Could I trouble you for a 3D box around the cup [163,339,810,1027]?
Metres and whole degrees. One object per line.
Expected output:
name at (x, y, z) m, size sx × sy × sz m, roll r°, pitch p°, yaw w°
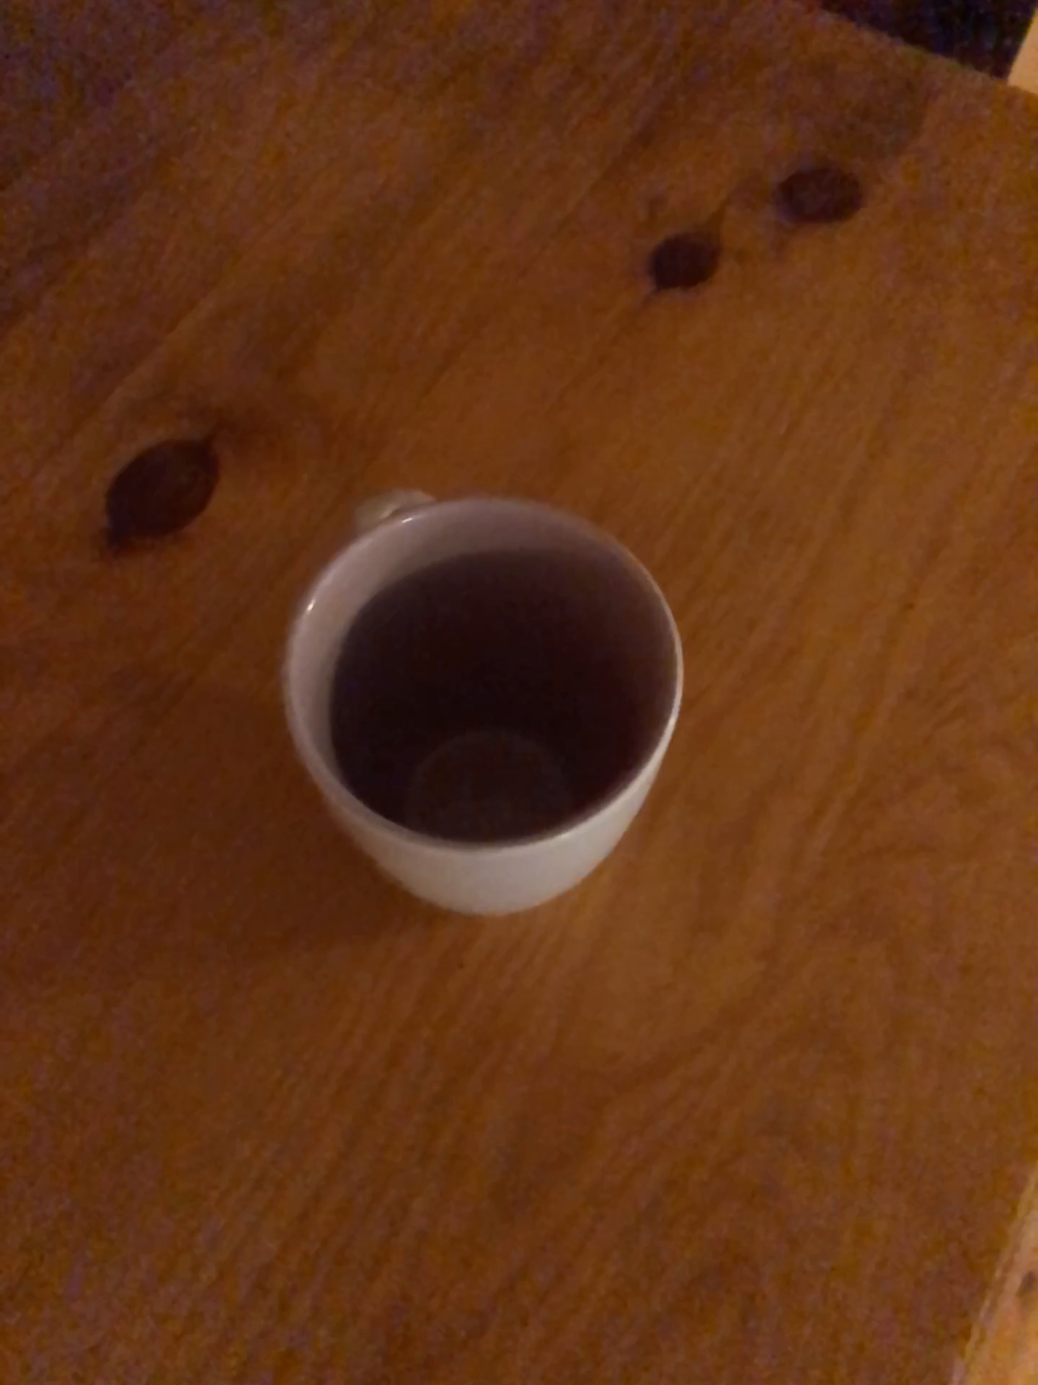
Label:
cup at (-0.012, 0.000, 0.300) m, size 0.101 × 0.096 × 0.120 m, roll -25°, pitch 67°, yaw -14°
